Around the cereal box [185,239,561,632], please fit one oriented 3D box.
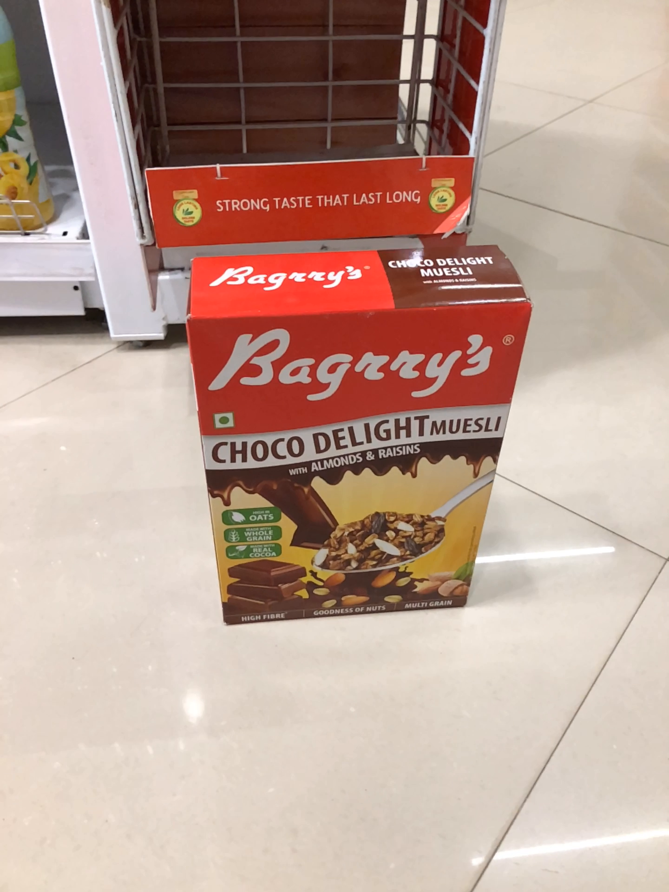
[{"bbox_3d":[0.016,0.006,0.478,0.190,0.258,0.070,-3,40,-6],"label":"cereal box"}]
